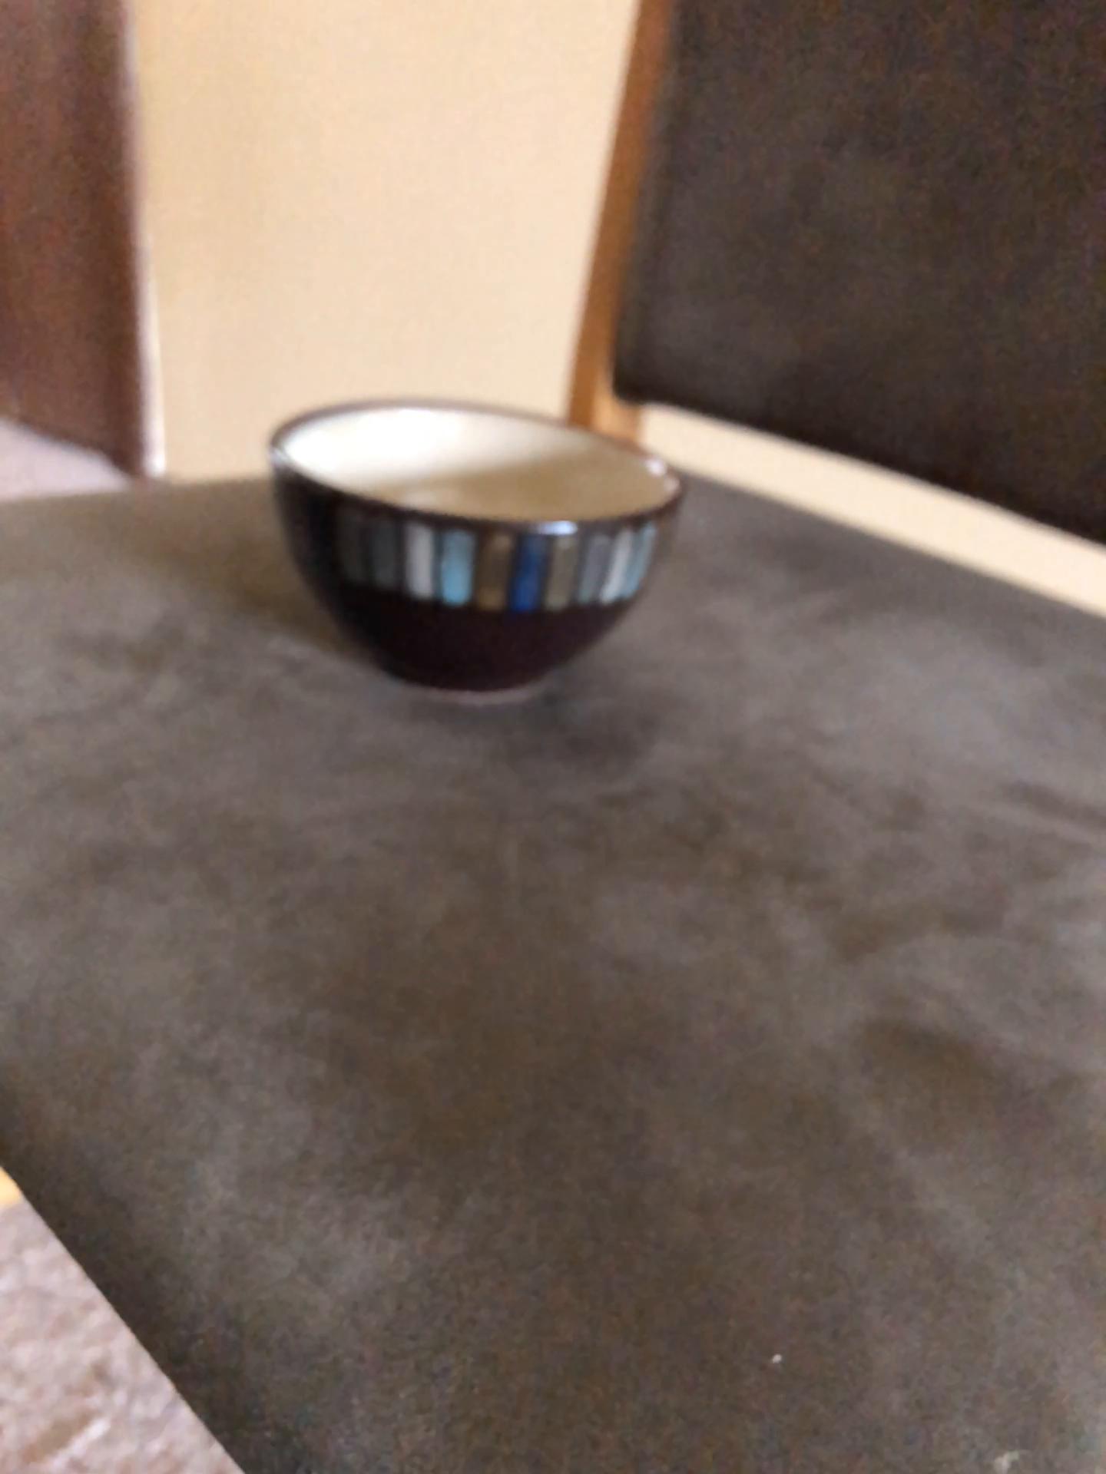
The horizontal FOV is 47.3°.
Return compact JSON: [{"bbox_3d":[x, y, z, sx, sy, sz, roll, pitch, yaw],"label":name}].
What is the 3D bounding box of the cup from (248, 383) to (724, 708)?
[{"bbox_3d":[-0.020,-0.057,0.348,0.108,0.044,0.115,5,29,-3],"label":"cup"}]
